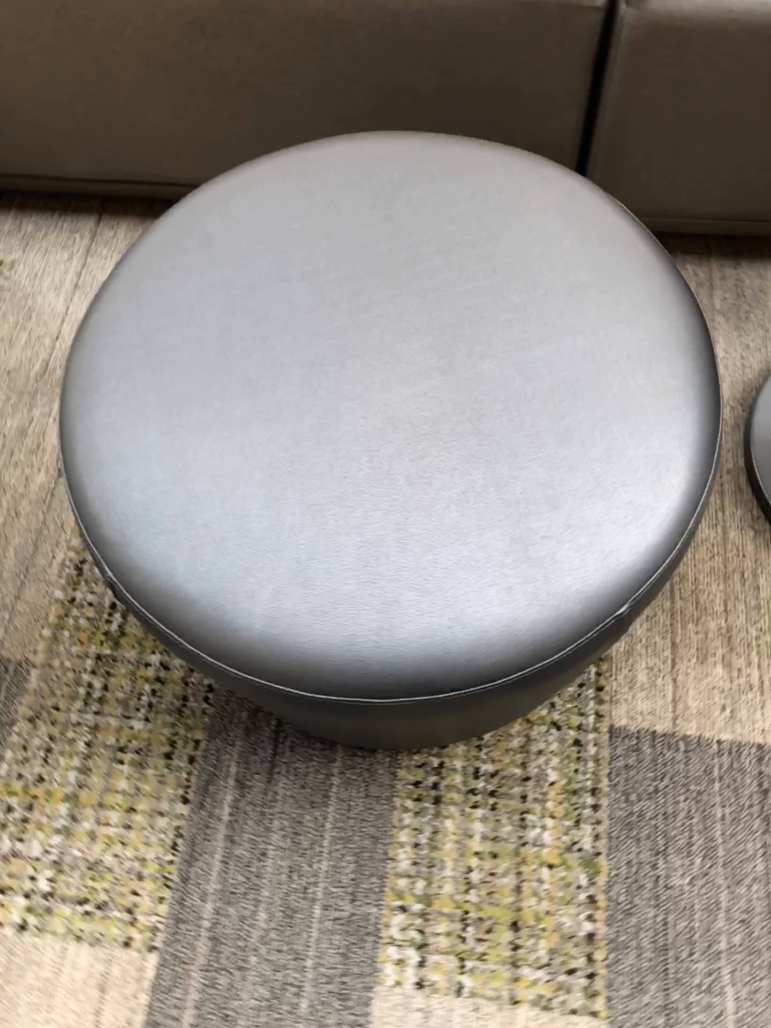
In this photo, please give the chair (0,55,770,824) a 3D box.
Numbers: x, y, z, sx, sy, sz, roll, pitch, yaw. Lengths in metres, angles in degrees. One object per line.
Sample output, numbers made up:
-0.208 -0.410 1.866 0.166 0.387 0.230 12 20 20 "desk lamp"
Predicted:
0.015 -0.059 0.894 0.620 0.460 0.570 9 64 8 "chair"
